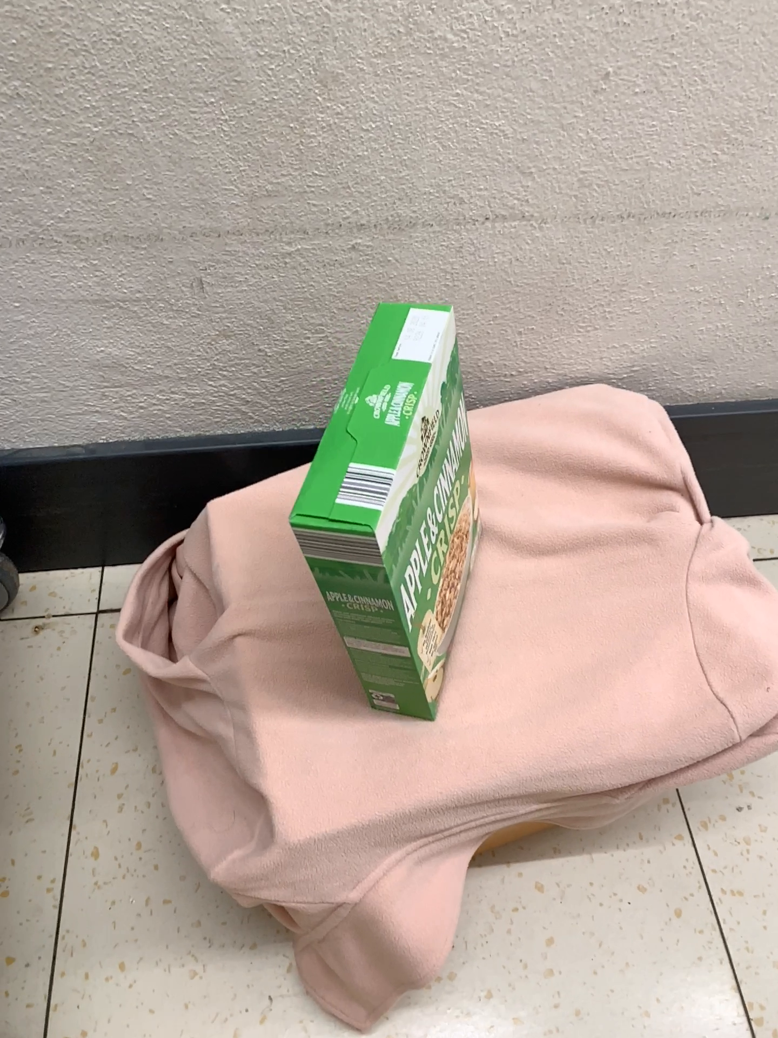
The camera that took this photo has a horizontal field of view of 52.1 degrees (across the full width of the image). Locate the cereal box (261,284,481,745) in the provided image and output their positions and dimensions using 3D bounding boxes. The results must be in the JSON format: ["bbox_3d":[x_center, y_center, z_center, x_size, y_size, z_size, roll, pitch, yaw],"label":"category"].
[{"bbox_3d":[0.008,0.009,0.542,0.060,0.258,0.191,8,55,15],"label":"cereal box"}]
